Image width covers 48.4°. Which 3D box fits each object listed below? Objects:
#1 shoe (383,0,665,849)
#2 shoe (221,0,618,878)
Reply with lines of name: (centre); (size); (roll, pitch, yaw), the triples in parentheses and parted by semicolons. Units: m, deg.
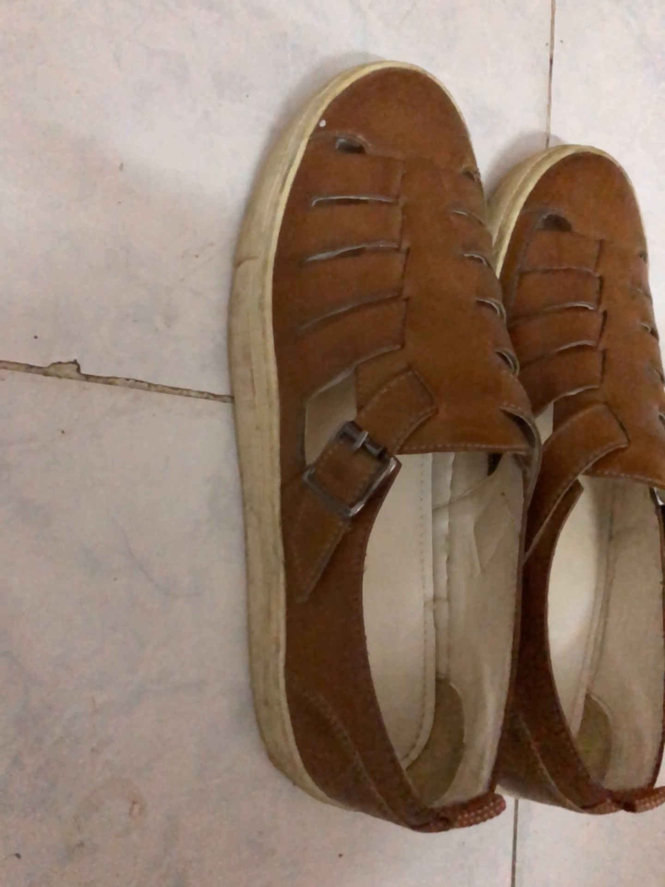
shoe: (0.108, -0.007, 0.324); (0.110, 0.100, 0.300); (9, 81, -27)
shoe: (0.028, -0.021, 0.289); (0.110, 0.100, 0.300); (3, 84, -27)
